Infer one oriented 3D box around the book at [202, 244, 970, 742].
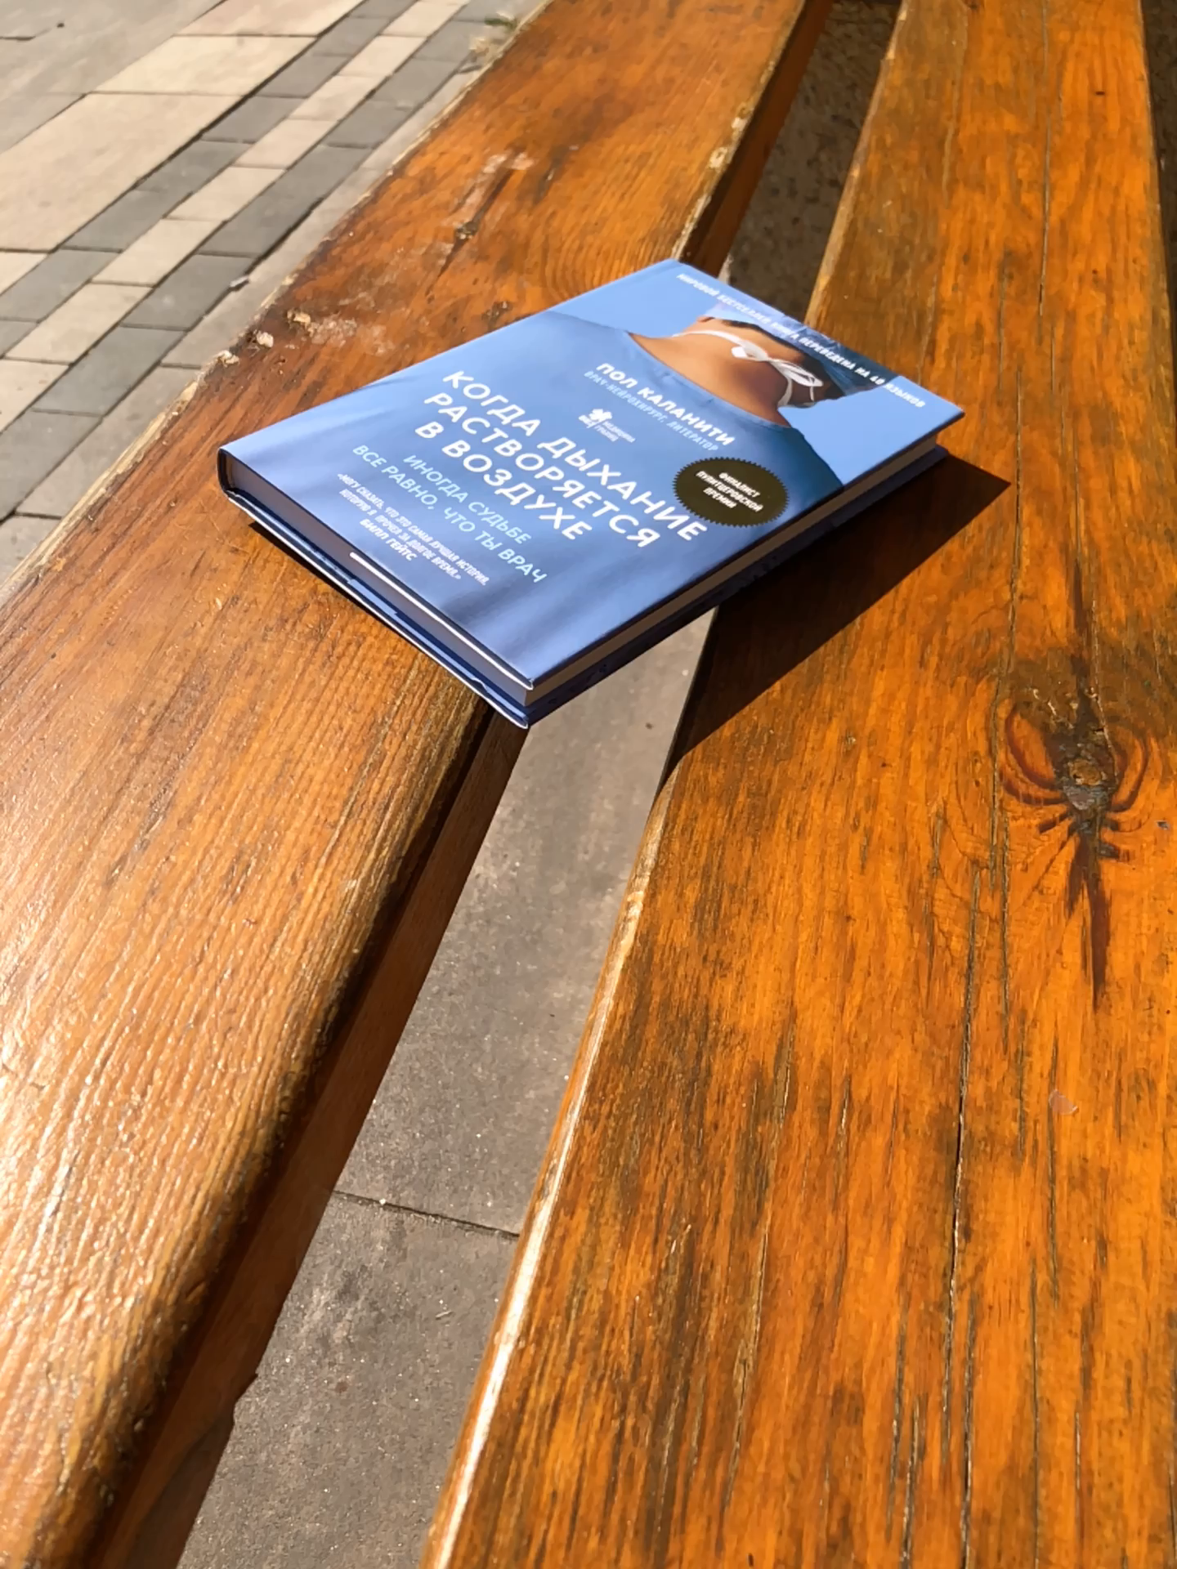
[{"bbox_3d":[0.005,-0.110,0.428,0.211,0.025,0.140,-35,59,-31],"label":"book"}]
